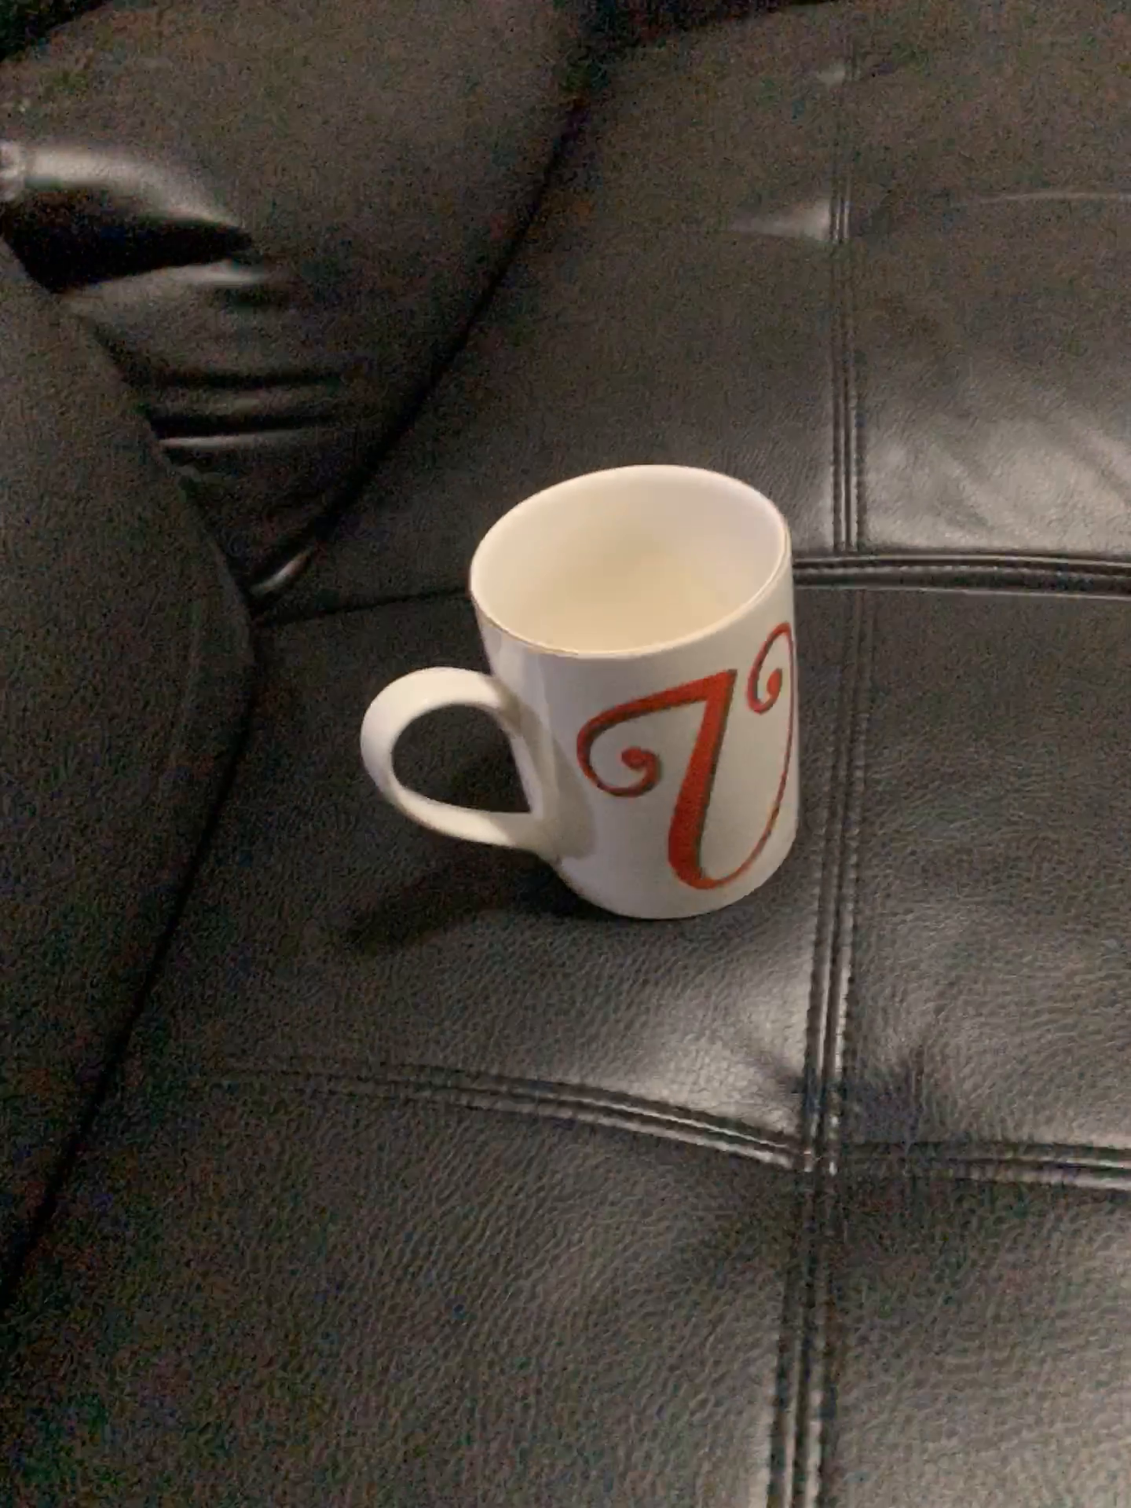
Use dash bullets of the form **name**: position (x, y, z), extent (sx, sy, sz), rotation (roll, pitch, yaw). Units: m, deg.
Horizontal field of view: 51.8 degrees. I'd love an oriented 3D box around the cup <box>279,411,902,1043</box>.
- **cup**: position (0.010, -0.012, 0.344), extent (0.139, 0.106, 0.098), rotation (-23, 43, -11)
